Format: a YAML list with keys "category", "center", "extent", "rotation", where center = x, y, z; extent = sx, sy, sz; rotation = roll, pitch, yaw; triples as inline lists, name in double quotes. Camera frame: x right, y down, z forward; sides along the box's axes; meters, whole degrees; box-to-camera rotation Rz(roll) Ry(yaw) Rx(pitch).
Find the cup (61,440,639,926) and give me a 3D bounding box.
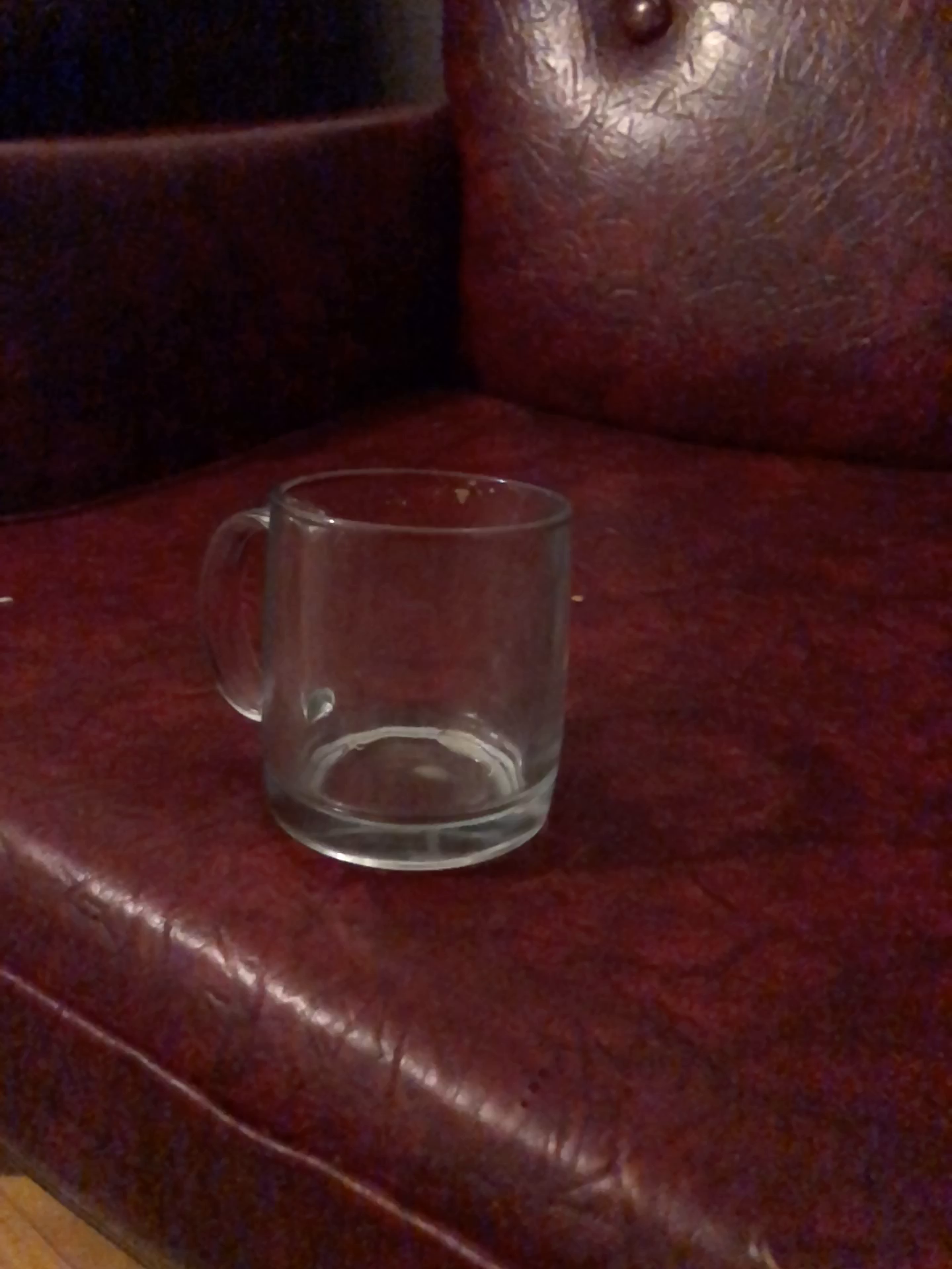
- category: "cup"
  center: [-0.034, 0.002, 0.300]
  extent: [0.128, 0.090, 0.090]
  rotation: [13, 21, 26]
